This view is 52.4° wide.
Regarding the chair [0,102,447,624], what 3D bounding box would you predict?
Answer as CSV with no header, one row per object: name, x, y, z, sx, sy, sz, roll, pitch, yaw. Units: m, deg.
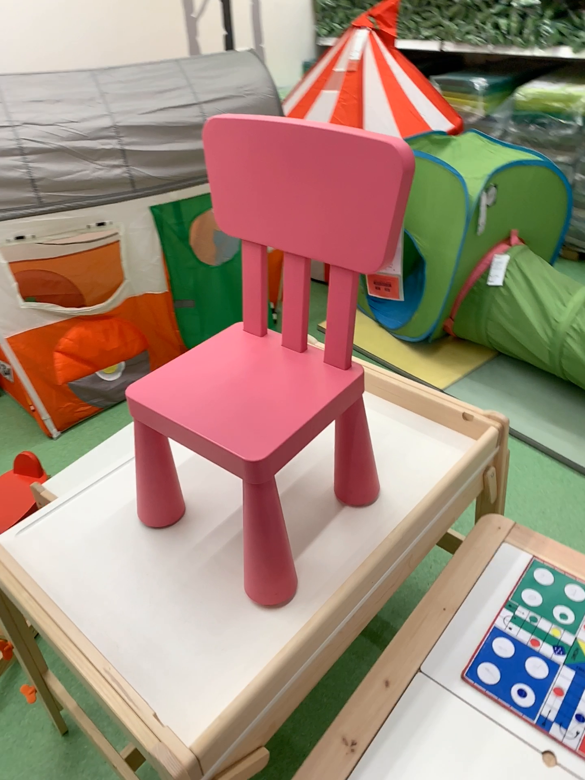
chair,-0.077,-0.070,0.927,0.421,0.597,0.401,25,44,34
